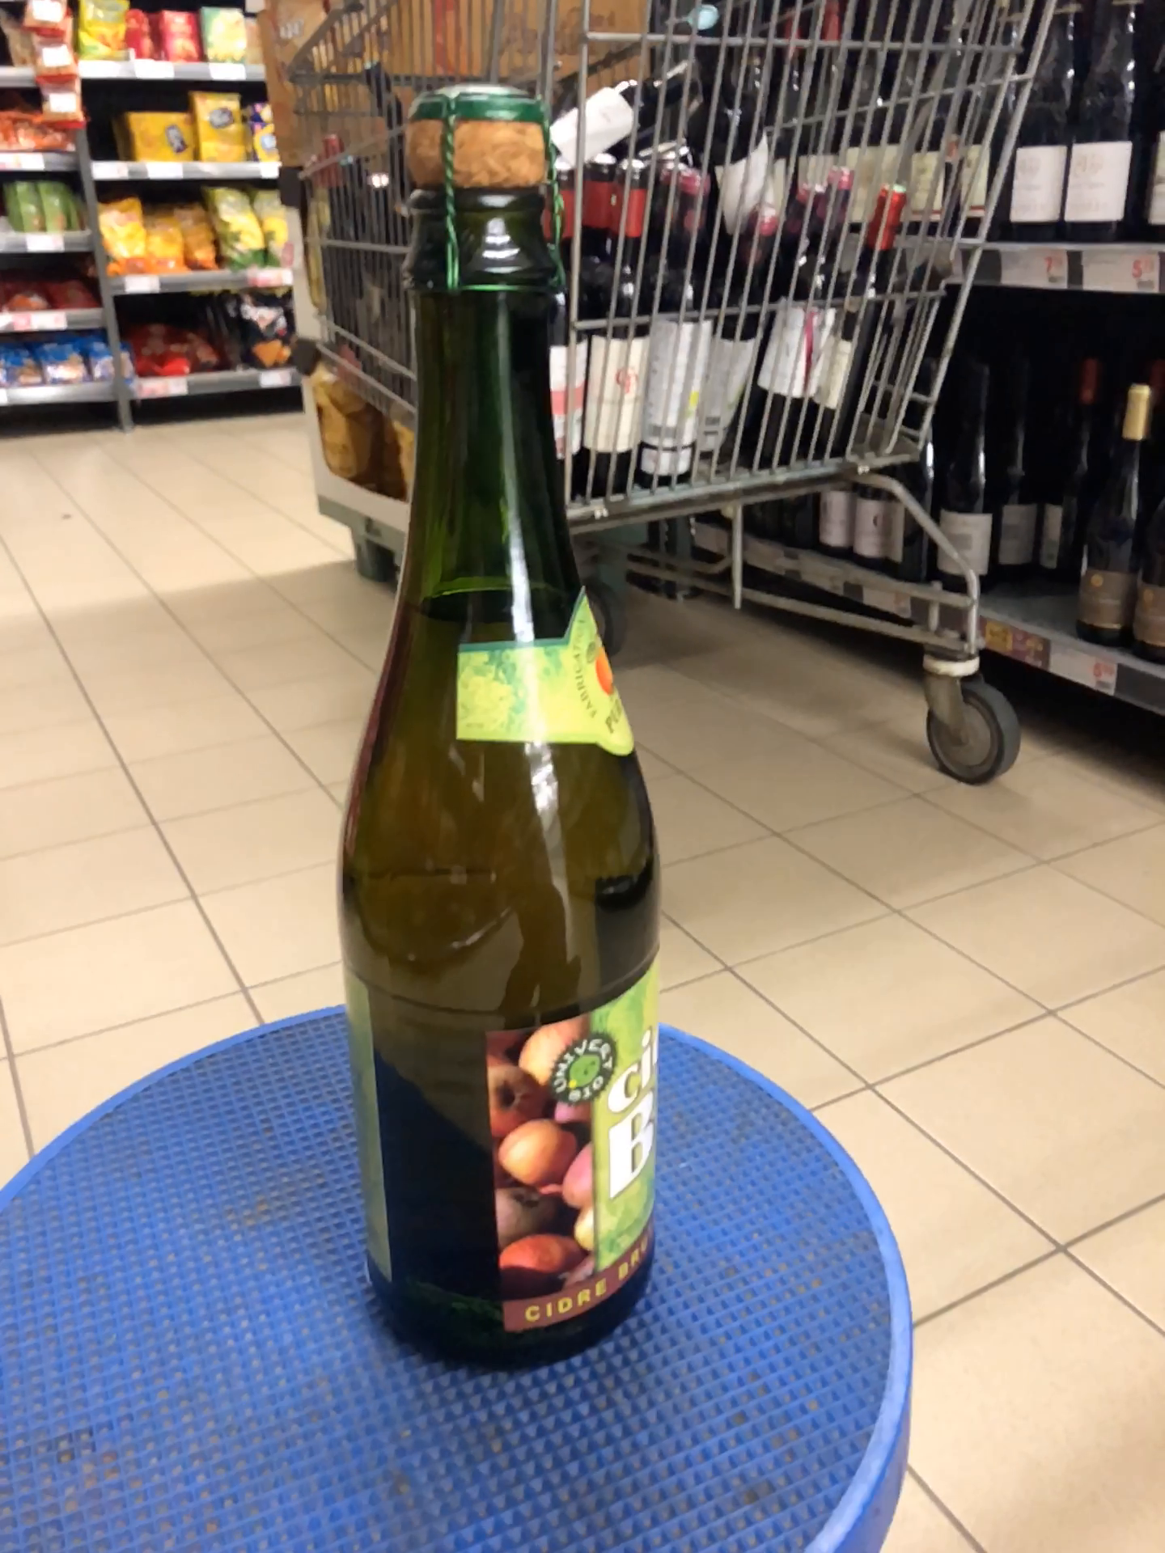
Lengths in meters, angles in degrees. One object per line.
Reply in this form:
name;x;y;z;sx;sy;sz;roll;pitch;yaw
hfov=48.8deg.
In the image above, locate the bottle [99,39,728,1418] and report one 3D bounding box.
bottle;-0.023;-0.002;0.305;0.090;0.289;0.091;-1;23;1
